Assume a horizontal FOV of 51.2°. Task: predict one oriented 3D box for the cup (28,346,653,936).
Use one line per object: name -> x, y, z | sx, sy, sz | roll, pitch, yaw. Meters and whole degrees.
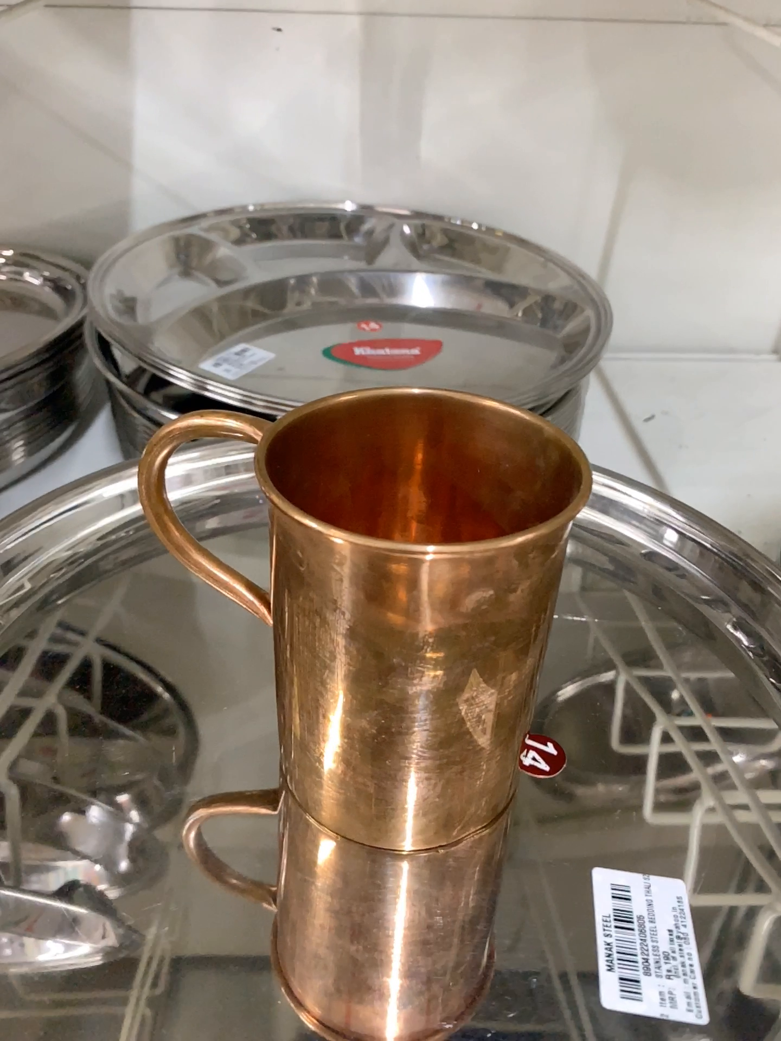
cup -> -0.006, 0.031, 0.229 | 0.130, 0.119, 0.080 | 9, 37, 11
